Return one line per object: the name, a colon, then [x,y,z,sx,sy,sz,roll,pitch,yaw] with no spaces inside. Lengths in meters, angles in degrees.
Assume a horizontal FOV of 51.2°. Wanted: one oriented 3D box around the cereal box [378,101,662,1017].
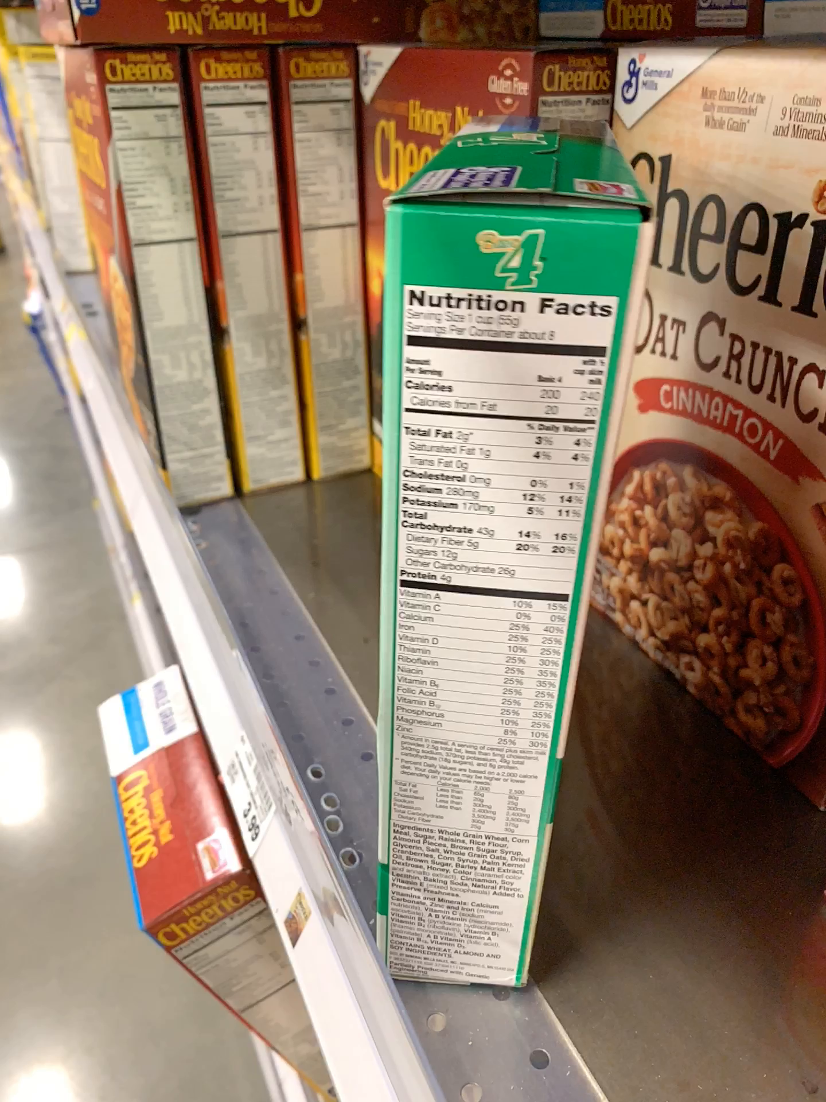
cereal box: [0.031,-0.008,0.310,0.050,0.259,0.201,6,31,6]
